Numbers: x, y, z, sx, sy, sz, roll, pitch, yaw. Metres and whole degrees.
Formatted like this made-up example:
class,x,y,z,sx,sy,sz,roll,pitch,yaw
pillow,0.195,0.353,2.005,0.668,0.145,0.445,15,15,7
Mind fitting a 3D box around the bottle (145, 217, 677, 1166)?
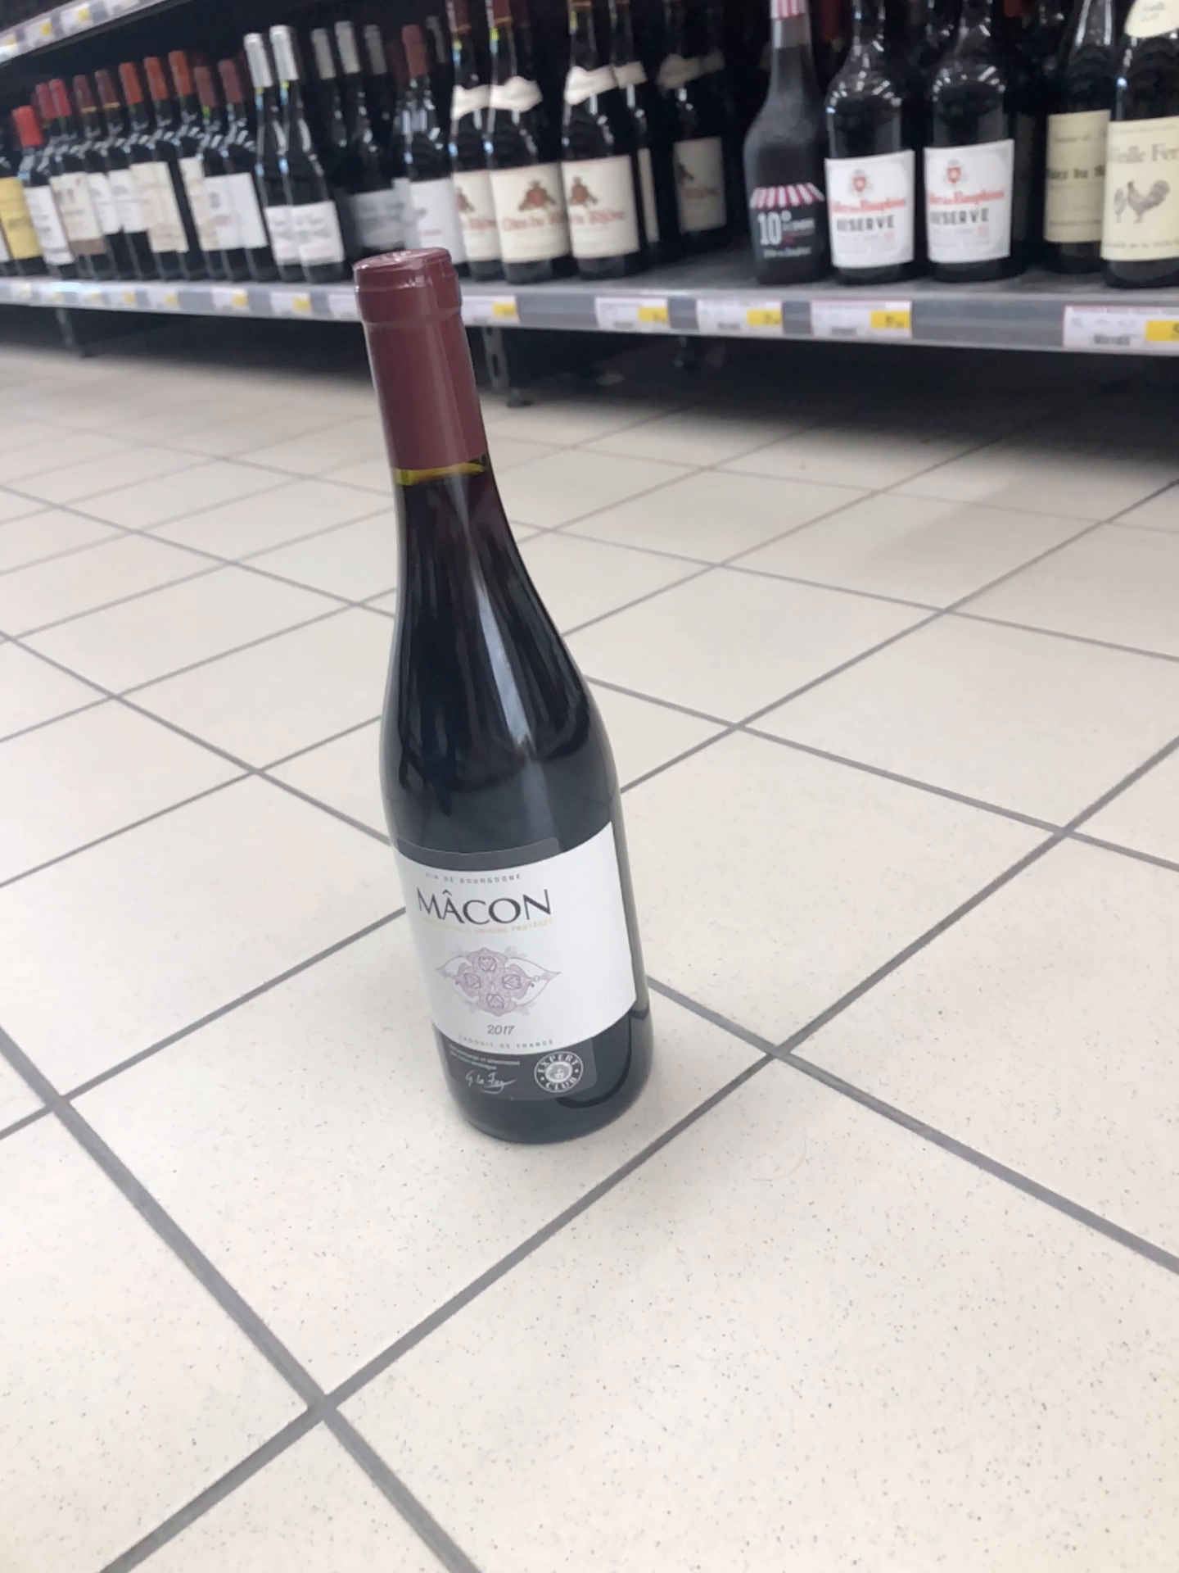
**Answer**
class,x,y,z,sx,sy,sz,roll,pitch,yaw
bottle,-0.042,-0.023,0.431,0.090,0.288,0.091,-7,26,3
